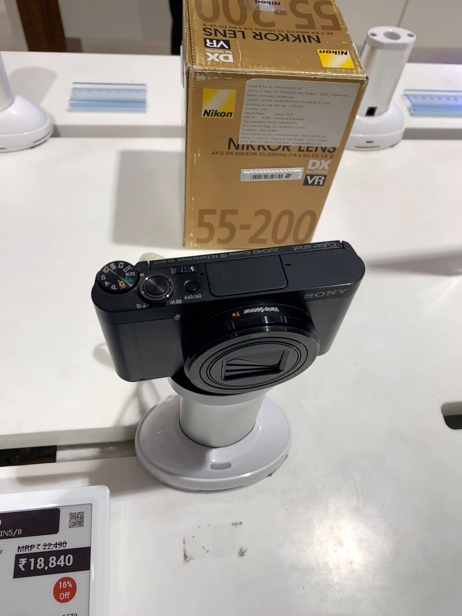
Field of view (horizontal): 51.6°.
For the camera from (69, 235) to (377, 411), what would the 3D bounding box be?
[{"bbox_3d":[-0.005,0.007,0.186,0.100,0.060,0.030,-6,57,-10],"label":"camera"}]
